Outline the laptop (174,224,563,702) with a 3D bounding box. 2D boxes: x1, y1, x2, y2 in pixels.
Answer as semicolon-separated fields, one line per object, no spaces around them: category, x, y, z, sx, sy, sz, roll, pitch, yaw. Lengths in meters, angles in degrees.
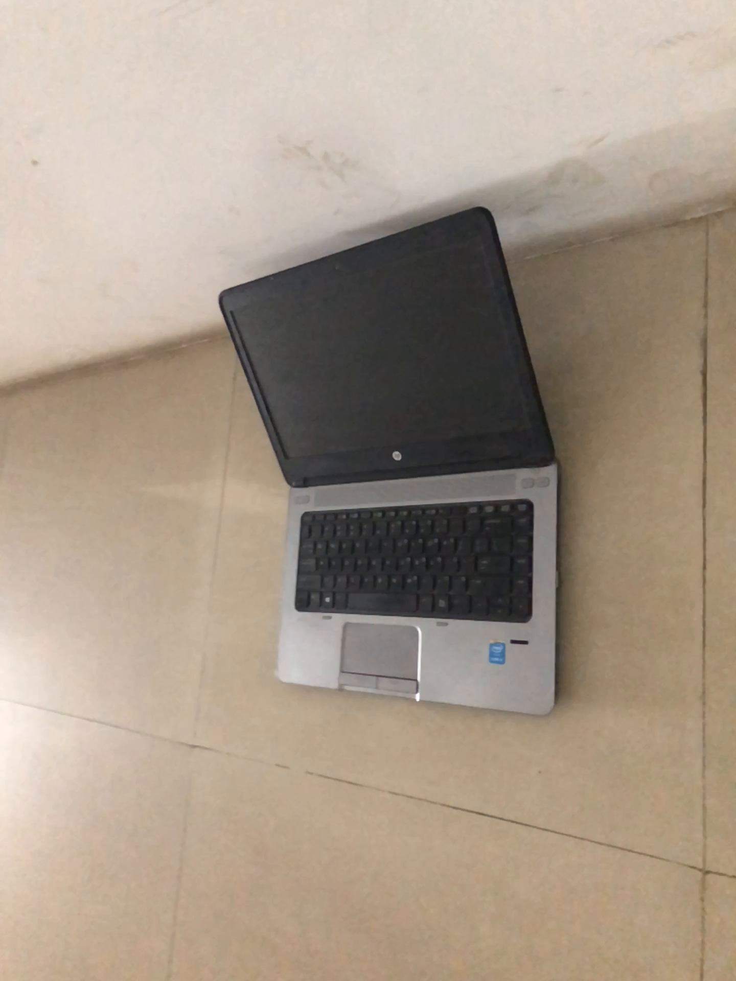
laptop;0.000;-0.011;0.782;0.319;0.146;0.385;-4;74;38
